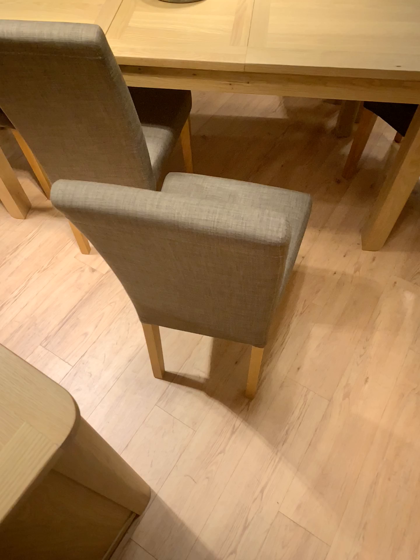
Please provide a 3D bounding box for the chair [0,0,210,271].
[{"bbox_3d":[-0.292,-0.480,1.299,0.497,0.766,0.507,6,57,6],"label":"chair"}]

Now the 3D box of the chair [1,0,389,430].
[{"bbox_3d":[0.041,-0.098,1.071,0.507,0.886,0.608,10,57,8],"label":"chair"}]
